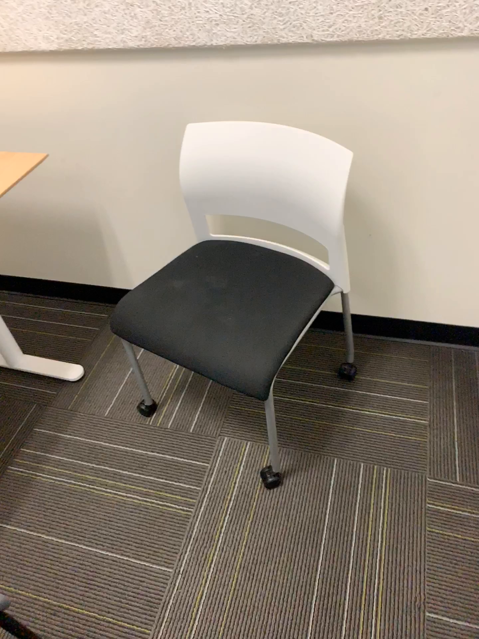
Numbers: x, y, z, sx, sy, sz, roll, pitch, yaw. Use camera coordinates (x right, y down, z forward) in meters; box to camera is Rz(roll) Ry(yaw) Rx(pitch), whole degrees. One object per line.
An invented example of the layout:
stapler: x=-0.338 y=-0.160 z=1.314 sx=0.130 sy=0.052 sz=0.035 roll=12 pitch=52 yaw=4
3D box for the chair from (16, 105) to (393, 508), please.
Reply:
chair: x=-0.020 y=-0.057 z=1.372 sx=0.622 sy=0.775 sz=0.622 roll=18 pitch=49 yaw=25
